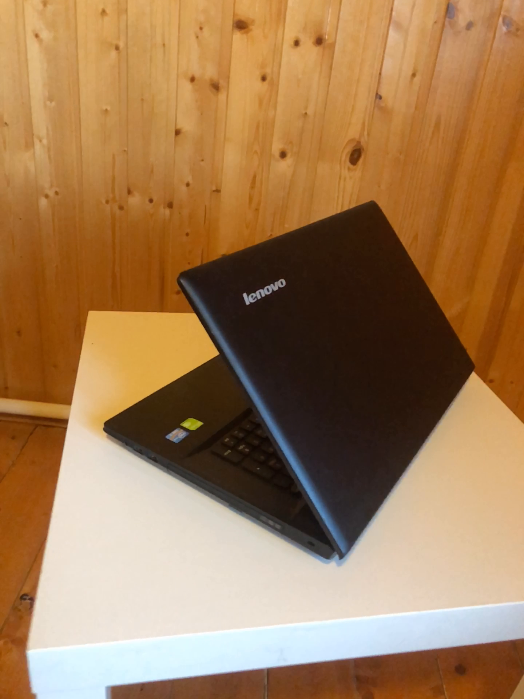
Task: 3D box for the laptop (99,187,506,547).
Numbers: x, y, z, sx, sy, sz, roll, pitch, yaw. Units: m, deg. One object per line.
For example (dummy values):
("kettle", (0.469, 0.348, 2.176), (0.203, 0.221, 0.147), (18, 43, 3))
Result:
("laptop", (0.063, -0.033, 0.631), (0.260, 0.179, 0.390), (22, 32, 27))
